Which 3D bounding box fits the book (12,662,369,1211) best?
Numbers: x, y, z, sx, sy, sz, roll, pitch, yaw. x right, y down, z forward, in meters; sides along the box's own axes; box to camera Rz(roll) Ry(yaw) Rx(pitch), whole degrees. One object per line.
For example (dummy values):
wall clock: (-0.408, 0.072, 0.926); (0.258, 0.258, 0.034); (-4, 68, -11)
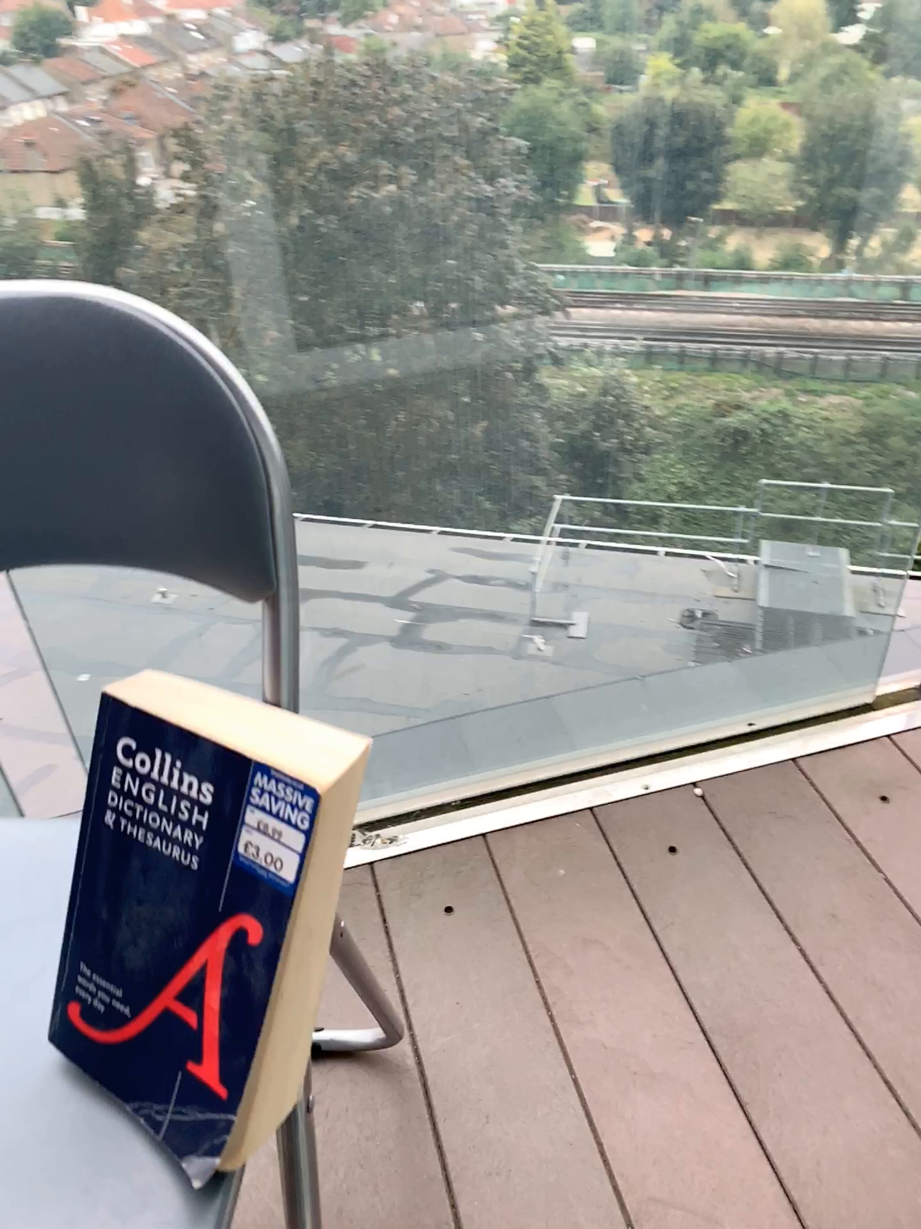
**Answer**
book: (-0.135, 0.144, 0.451); (0.140, 0.199, 0.060); (20, 15, 29)
